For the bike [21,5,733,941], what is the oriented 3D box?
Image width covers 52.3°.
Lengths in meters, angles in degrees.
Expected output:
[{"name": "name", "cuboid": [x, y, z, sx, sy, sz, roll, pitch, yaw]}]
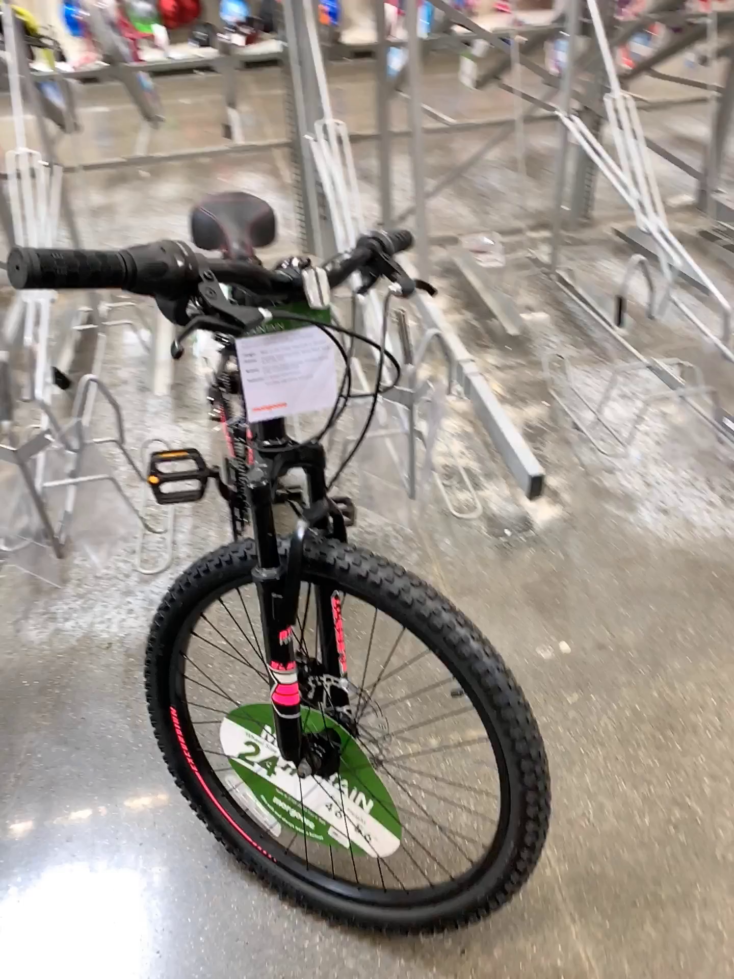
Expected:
[{"name": "bike", "cuboid": [-0.061, -0.200, 1.288, 0.638, 0.963, 1.409, -16, 39, -15]}]
